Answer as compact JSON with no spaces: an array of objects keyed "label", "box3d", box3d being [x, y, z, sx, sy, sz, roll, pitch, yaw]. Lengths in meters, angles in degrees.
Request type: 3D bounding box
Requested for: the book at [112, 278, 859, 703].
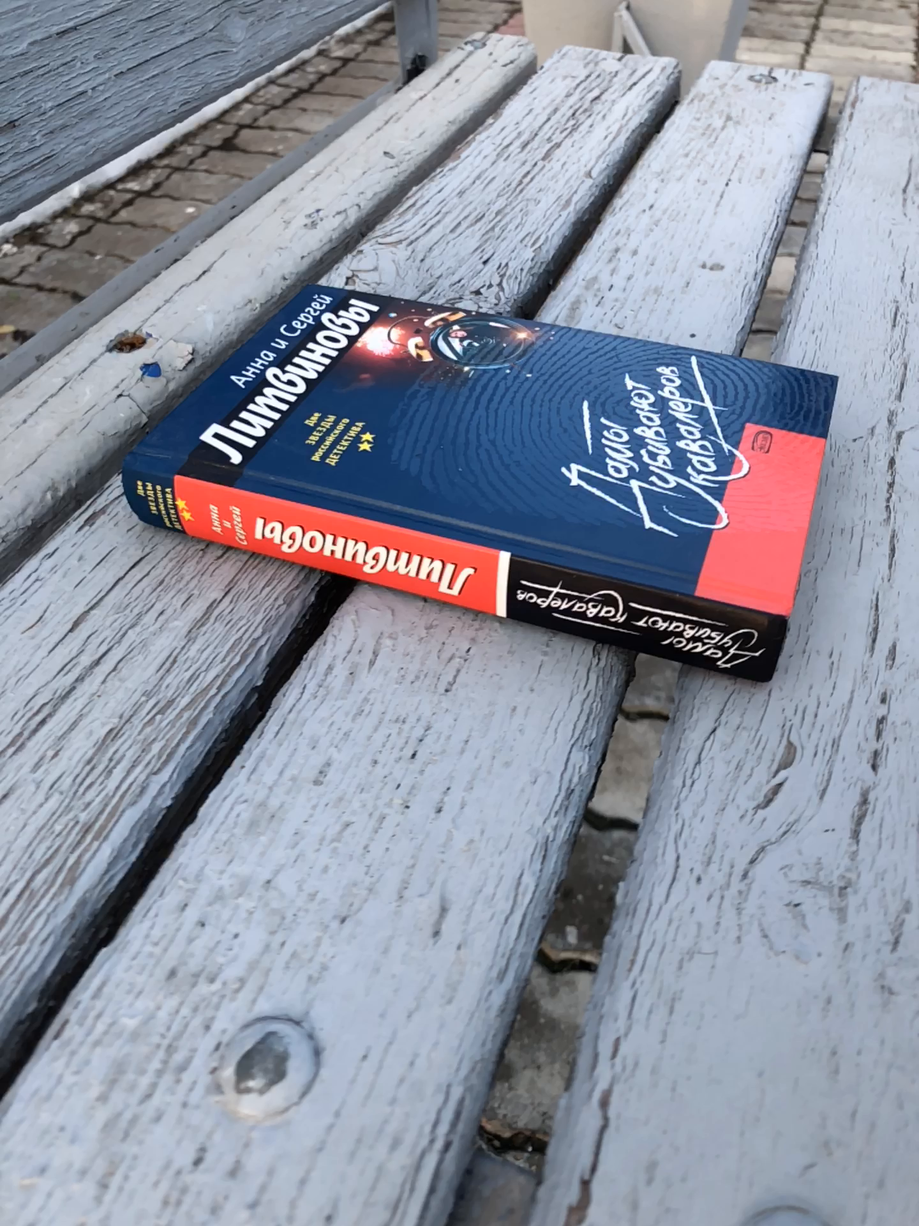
[{"label":"book","box3d":[0.016,-0.053,0.334,0.208,0.030,0.131,14,44,14]}]
